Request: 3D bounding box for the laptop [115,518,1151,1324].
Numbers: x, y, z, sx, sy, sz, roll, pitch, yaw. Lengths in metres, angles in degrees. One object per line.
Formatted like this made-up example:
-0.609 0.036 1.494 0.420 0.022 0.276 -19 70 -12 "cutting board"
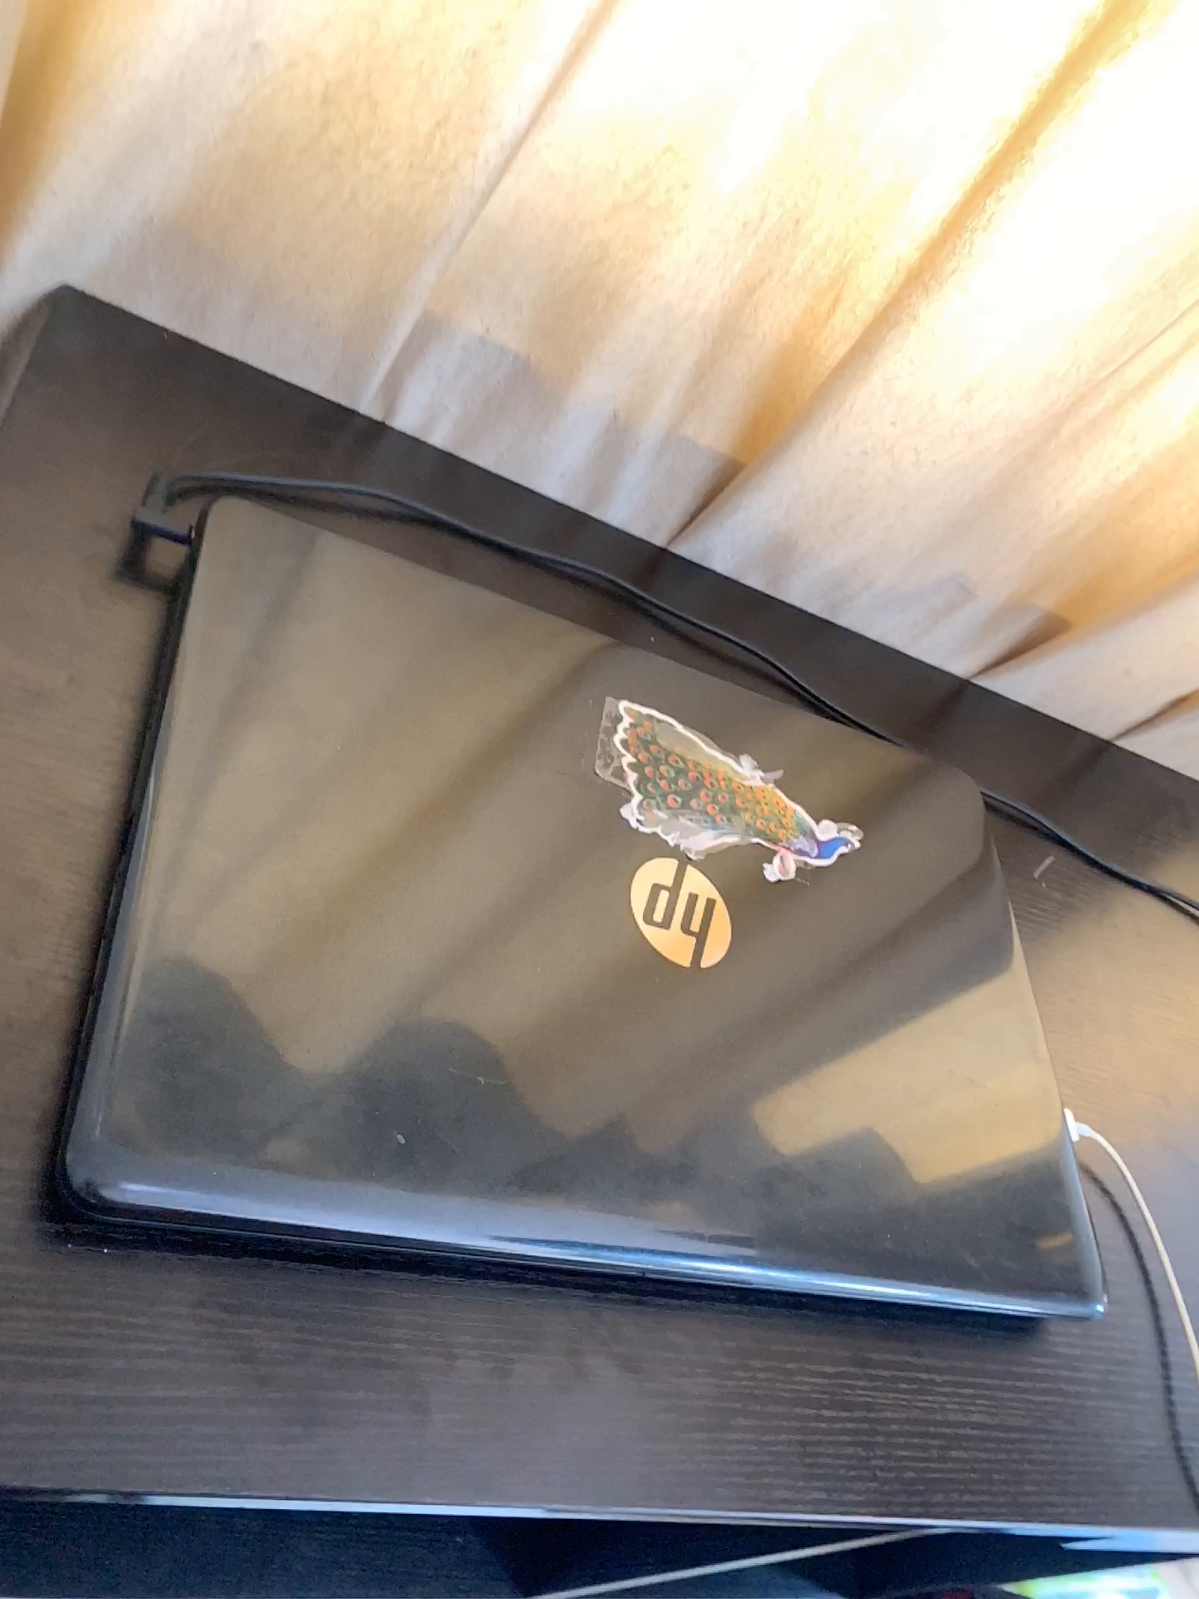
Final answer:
0.038 0.050 0.449 0.374 0.006 0.238 17 51 -26 "laptop"
